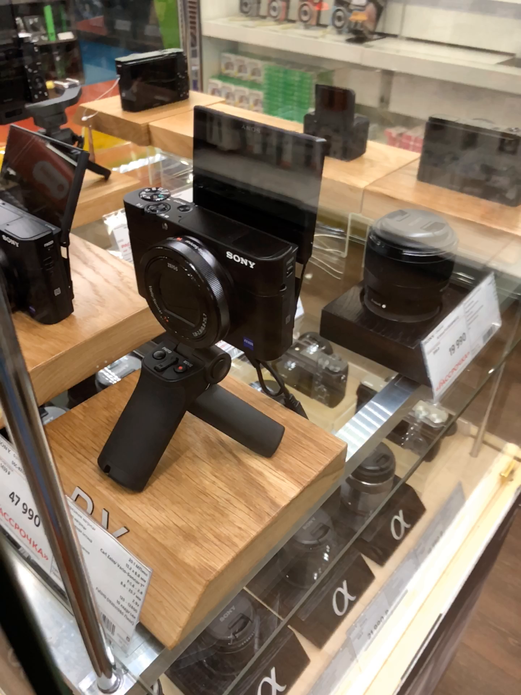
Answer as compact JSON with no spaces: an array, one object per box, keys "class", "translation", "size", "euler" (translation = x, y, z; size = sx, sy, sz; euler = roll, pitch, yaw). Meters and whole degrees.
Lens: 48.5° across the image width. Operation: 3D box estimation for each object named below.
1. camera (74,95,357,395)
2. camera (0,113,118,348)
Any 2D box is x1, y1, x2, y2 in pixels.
[{"class":"camera","translation":[-0.023,-0.054,0.276],"size":[0.109,0.097,0.062],"euler":[29,45,31]},{"class":"camera","translation":[-0.156,-0.076,0.356],"size":[0.109,0.097,0.070],"euler":[29,45,31]}]
